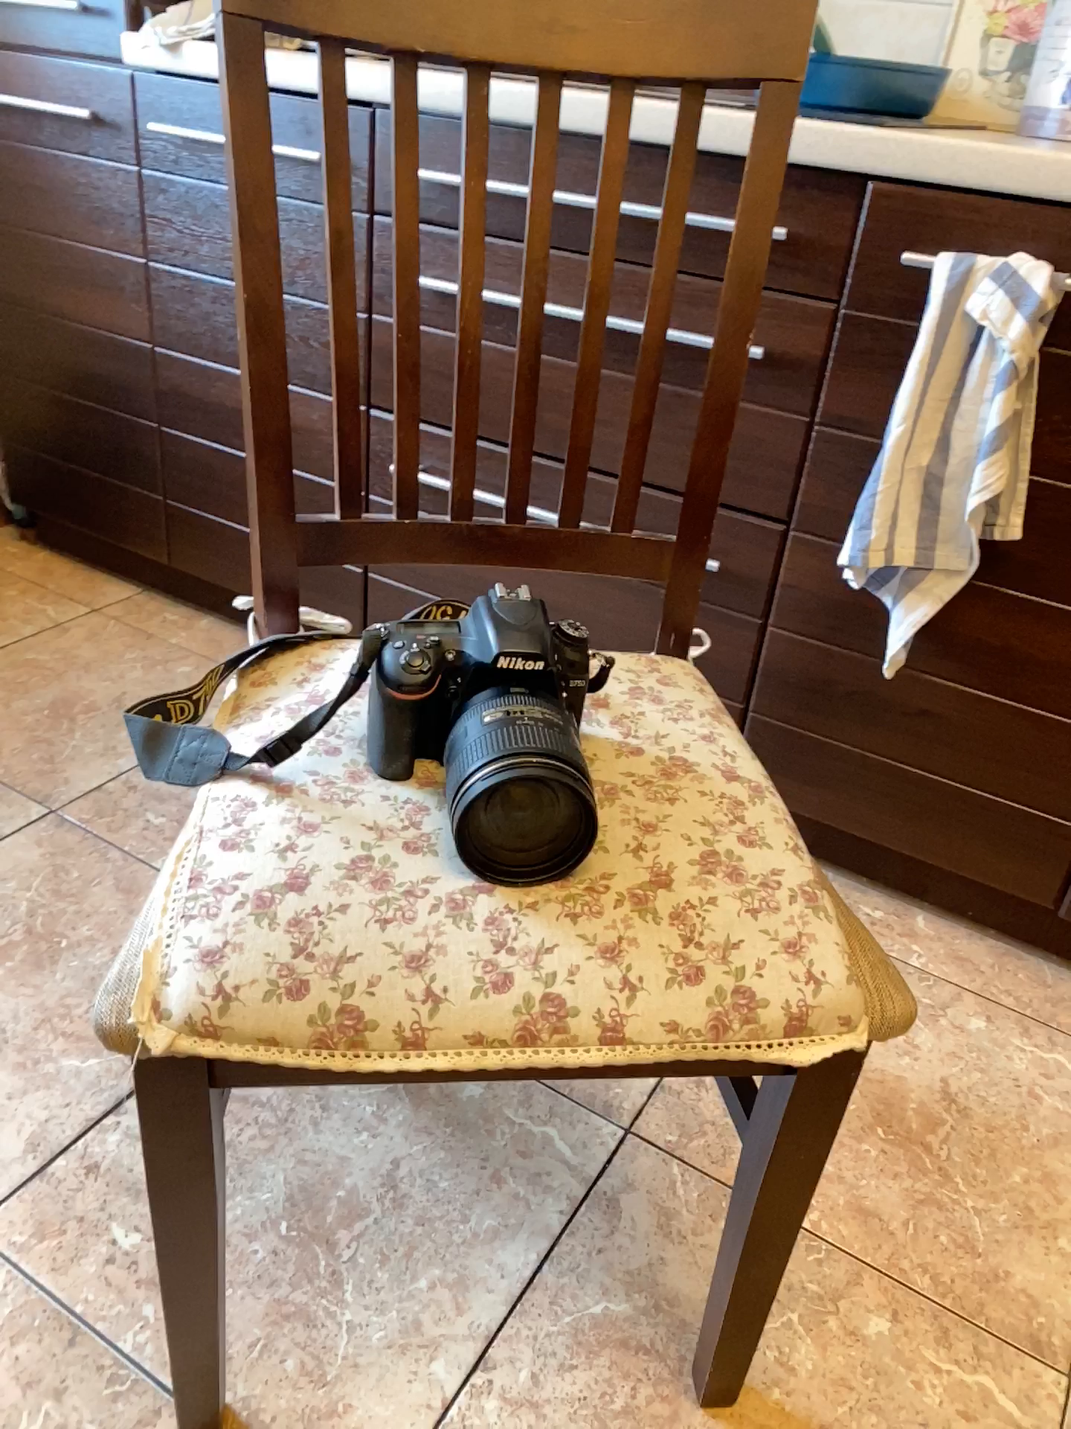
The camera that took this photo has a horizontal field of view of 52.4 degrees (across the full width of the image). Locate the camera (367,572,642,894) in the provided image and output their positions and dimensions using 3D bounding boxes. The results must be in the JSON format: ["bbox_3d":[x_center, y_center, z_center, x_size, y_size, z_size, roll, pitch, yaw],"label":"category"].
[{"bbox_3d":[-0.029,0.006,0.647,0.135,0.119,0.165,1,30,-10],"label":"camera"}]
